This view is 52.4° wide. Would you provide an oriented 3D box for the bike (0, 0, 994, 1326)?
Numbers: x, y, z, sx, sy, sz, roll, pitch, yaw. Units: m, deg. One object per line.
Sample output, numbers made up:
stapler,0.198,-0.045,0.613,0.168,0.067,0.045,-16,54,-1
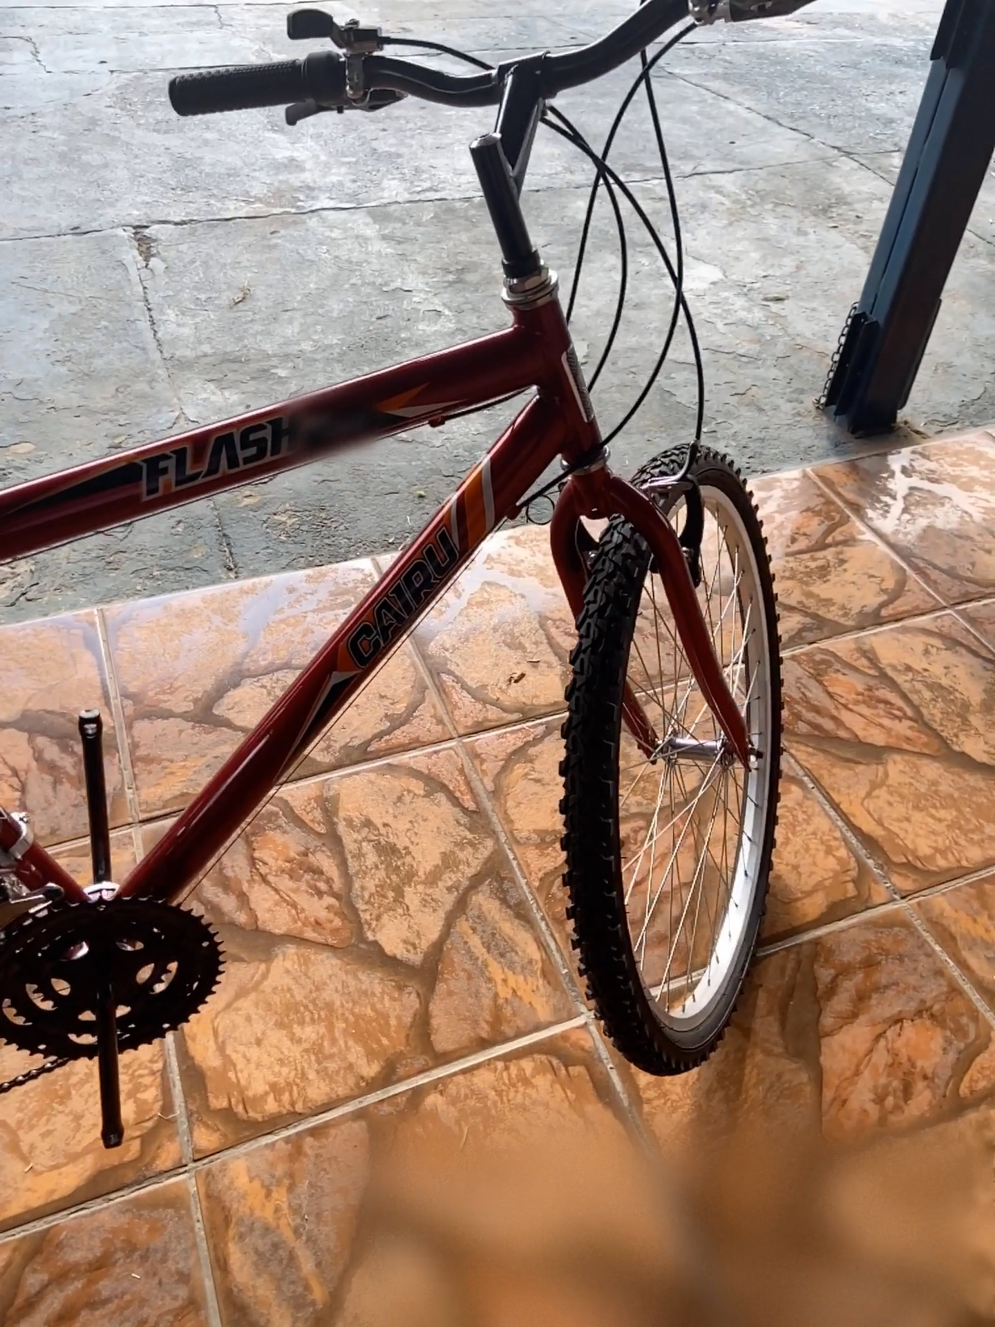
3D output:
bike,-0.375,-0.019,0.905,1.559,0.985,0.601,-18,49,-23
